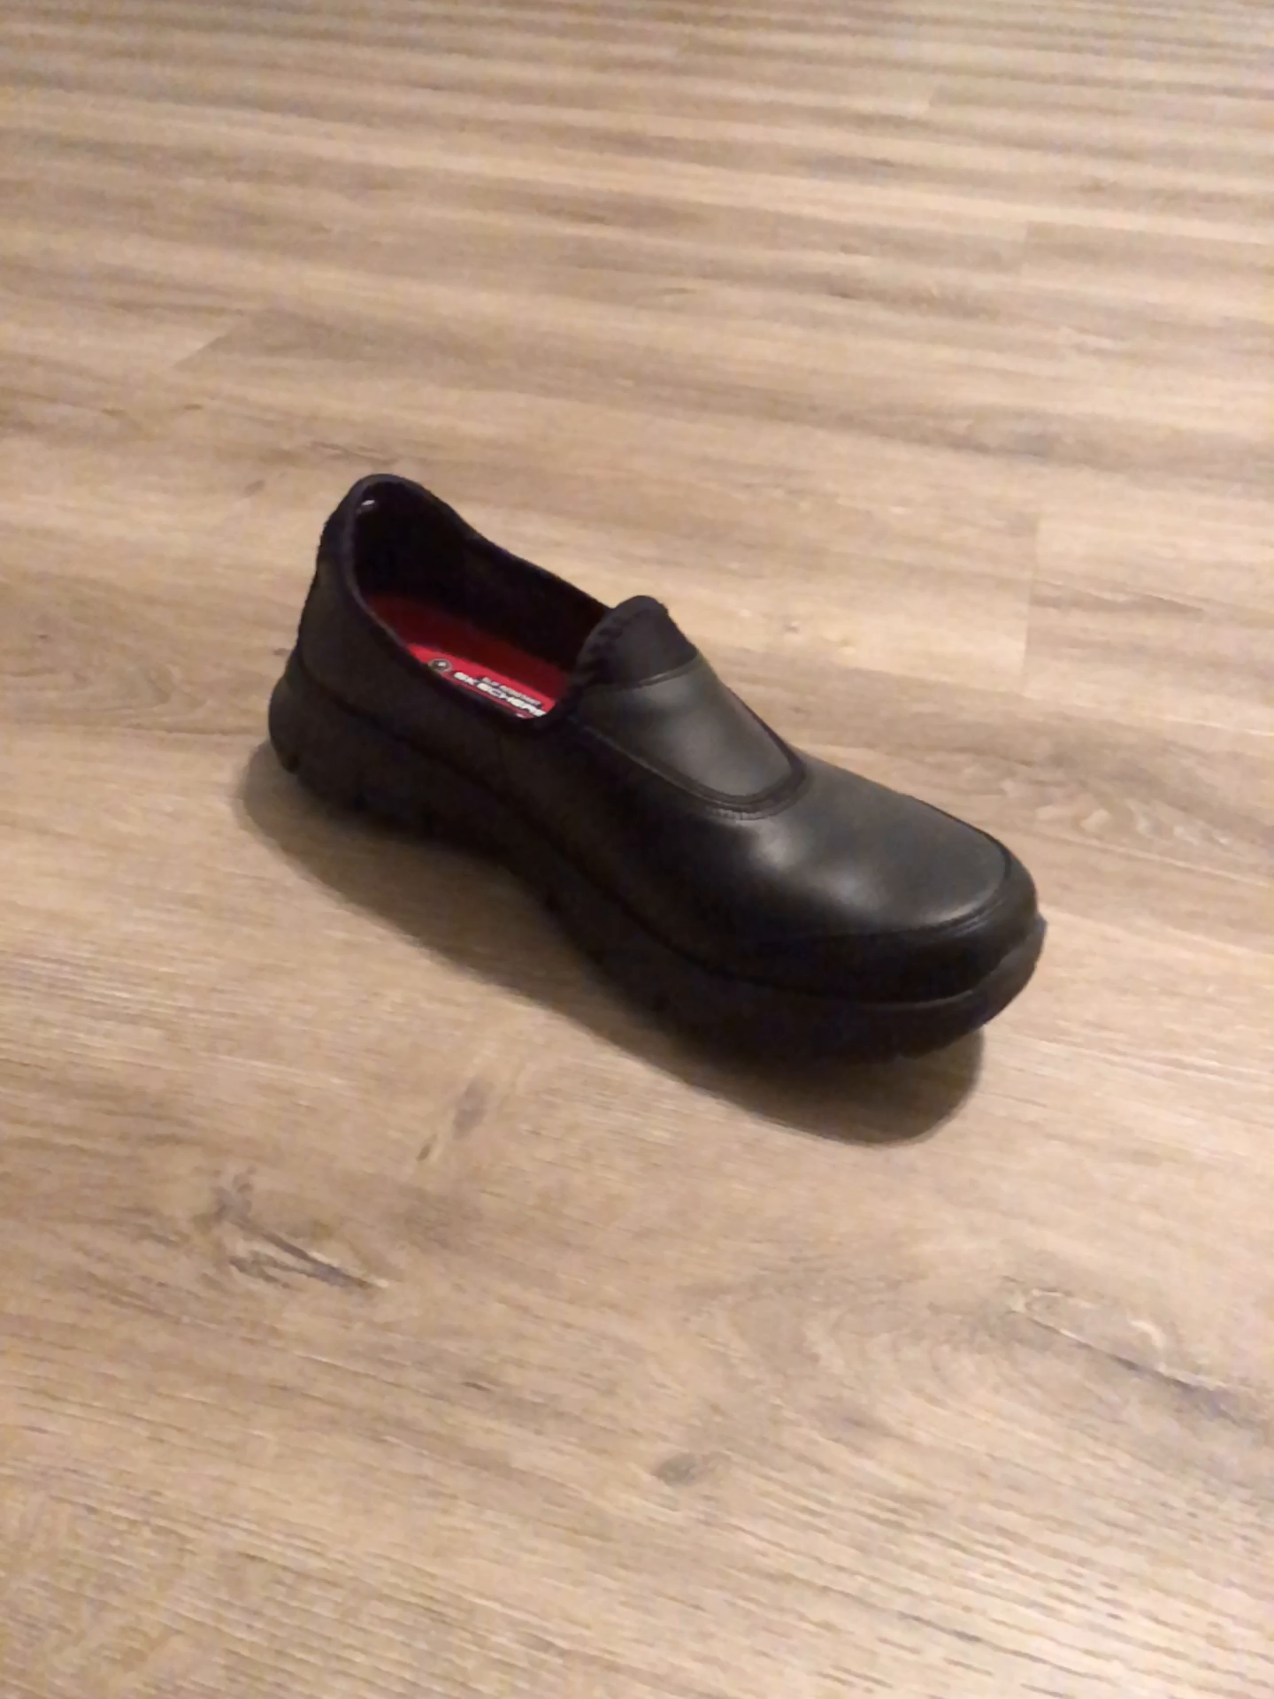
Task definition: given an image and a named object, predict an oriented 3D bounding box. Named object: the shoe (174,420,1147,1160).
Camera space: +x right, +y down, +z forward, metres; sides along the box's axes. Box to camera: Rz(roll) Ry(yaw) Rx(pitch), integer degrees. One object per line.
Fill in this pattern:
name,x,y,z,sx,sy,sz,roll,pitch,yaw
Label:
shoe,-0.005,-0.031,0.386,0.240,0.090,0.090,26,43,27
